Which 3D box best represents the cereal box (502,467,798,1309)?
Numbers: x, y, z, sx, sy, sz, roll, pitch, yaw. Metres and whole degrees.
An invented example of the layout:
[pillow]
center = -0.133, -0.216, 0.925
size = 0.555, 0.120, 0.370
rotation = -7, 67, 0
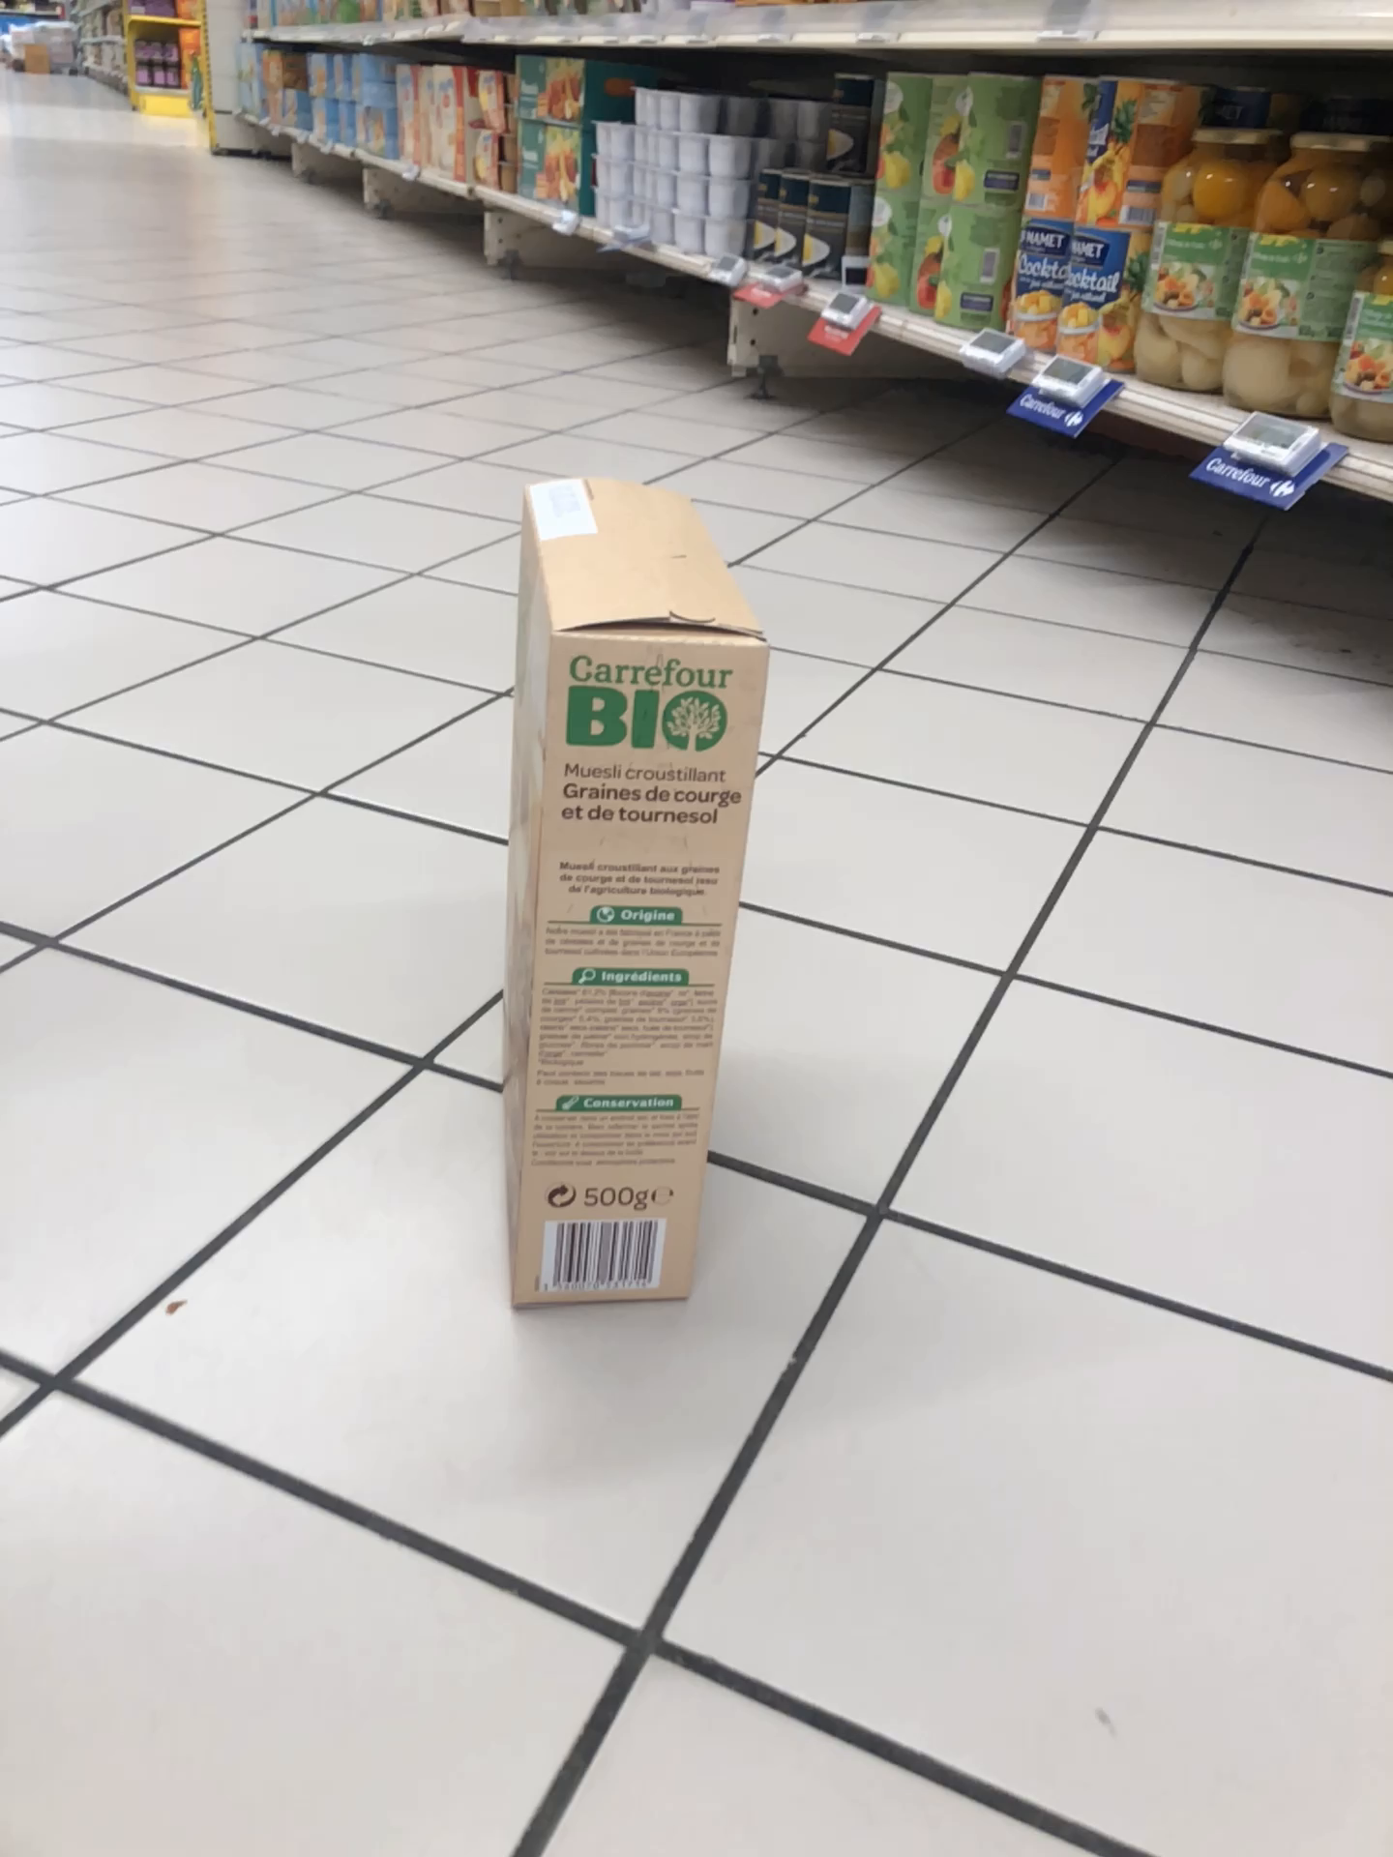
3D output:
[cereal box]
center = -0.028, -0.019, 0.516
size = 0.070, 0.229, 0.171
rotation = 1, 28, -8
